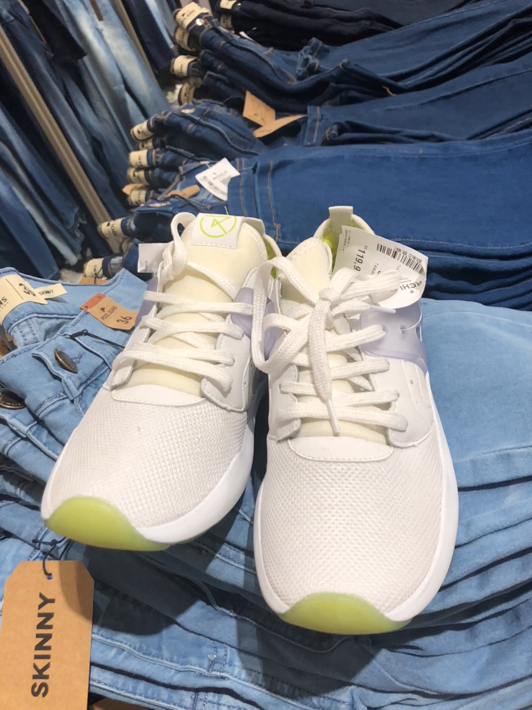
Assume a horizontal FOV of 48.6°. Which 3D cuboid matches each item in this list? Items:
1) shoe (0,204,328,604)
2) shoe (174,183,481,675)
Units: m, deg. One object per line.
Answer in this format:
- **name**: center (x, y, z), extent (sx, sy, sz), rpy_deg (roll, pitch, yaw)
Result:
- **shoe**: center (-0.043, -0.007, 0.350), extent (0.110, 0.119, 0.261), rpy_deg (8, 23, 13)
- **shoe**: center (0.042, 0.016, 0.313), extent (0.100, 0.089, 0.252), rpy_deg (-6, 41, 14)
